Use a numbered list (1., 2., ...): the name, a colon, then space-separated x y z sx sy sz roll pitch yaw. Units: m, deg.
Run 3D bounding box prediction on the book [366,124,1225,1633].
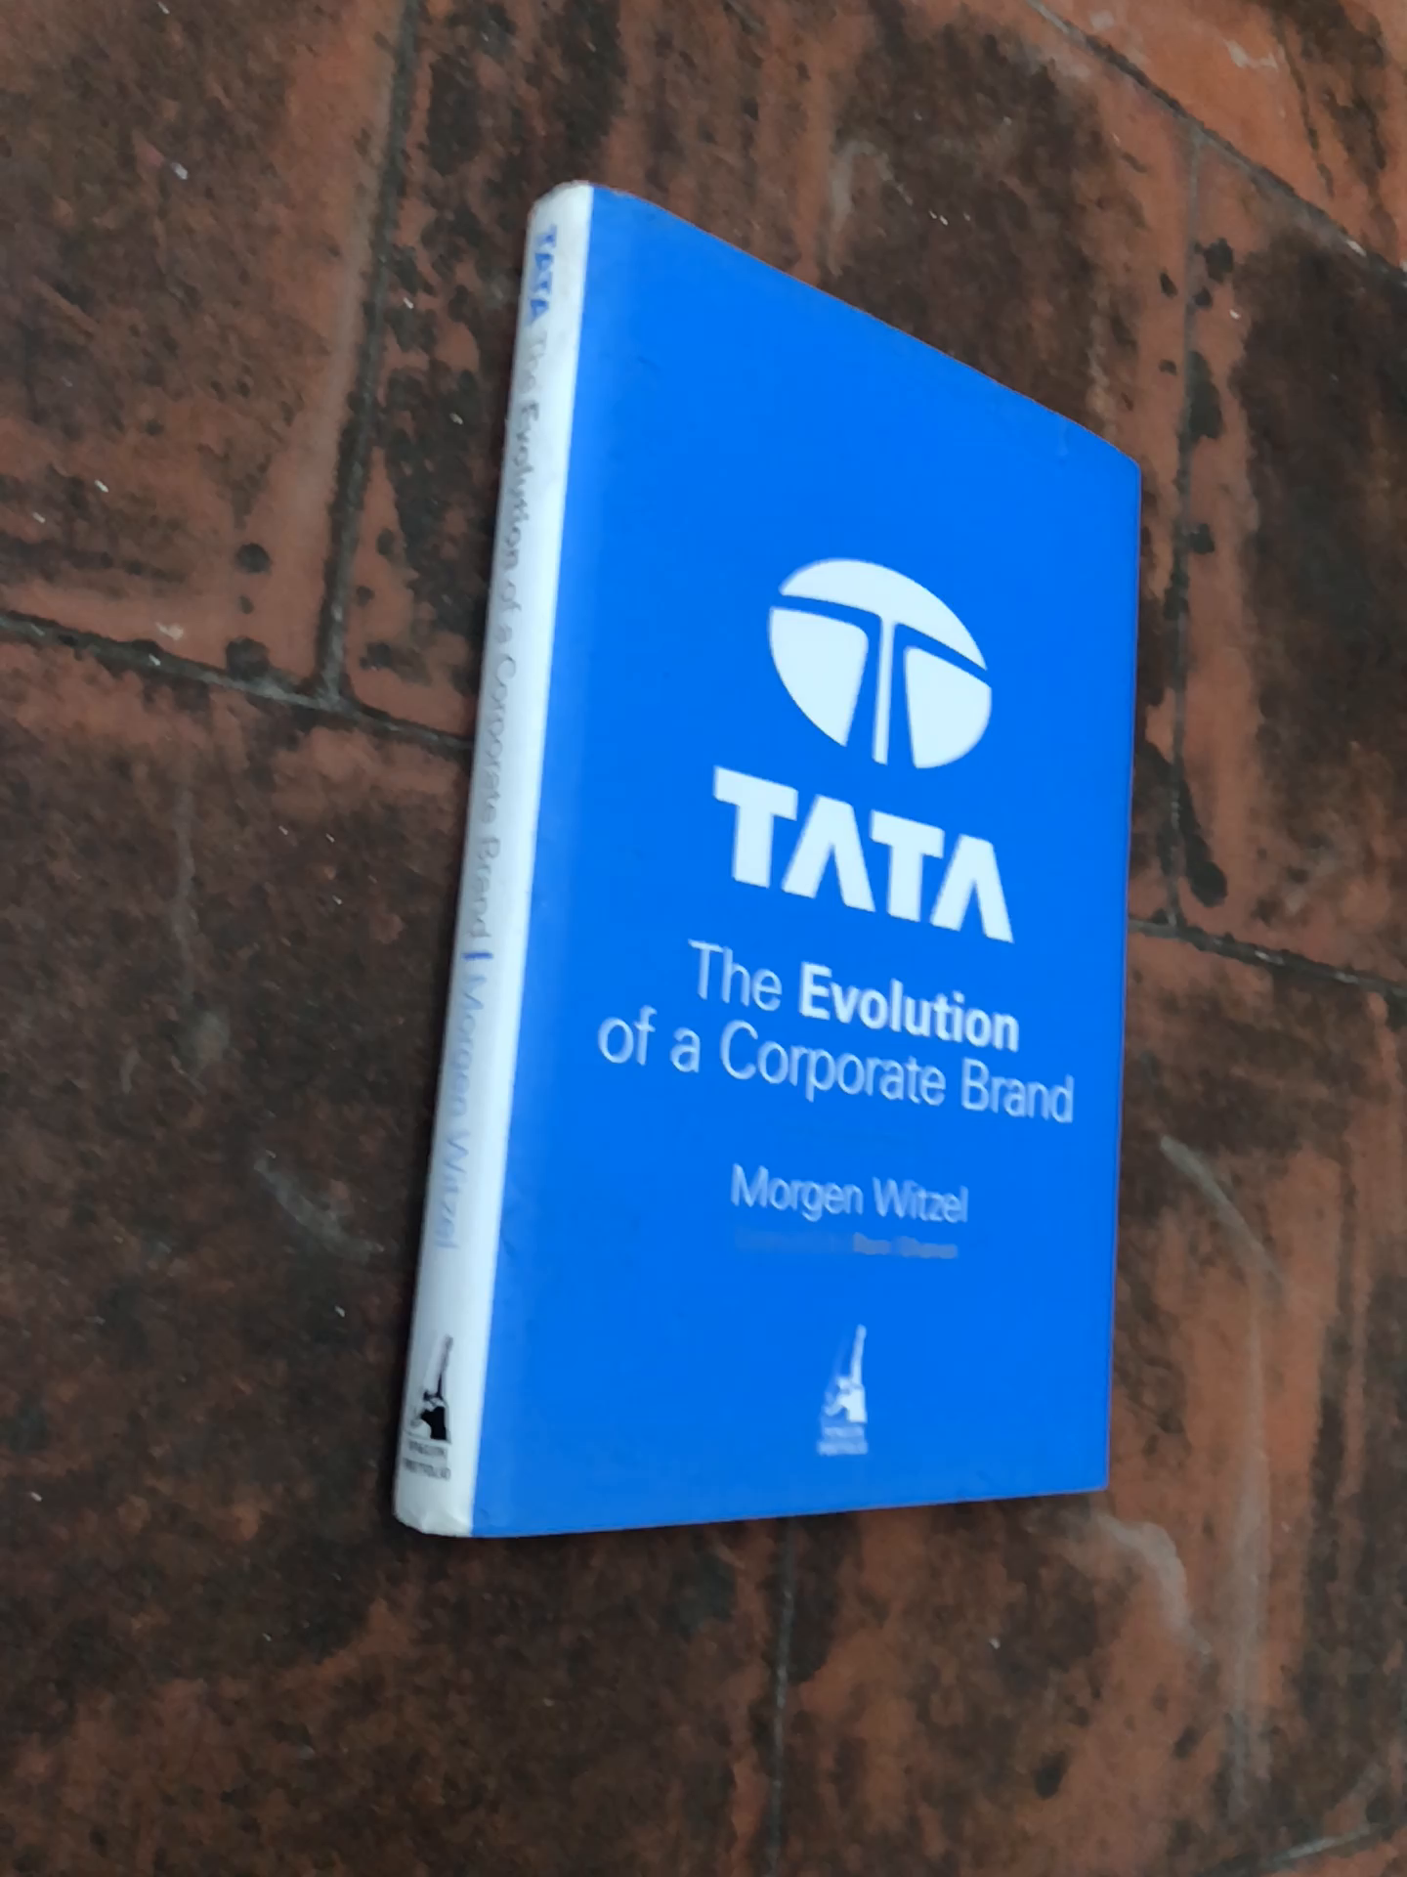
1. book: 0.033 -0.004 0.309 0.171 0.040 0.240 11 77 -36
